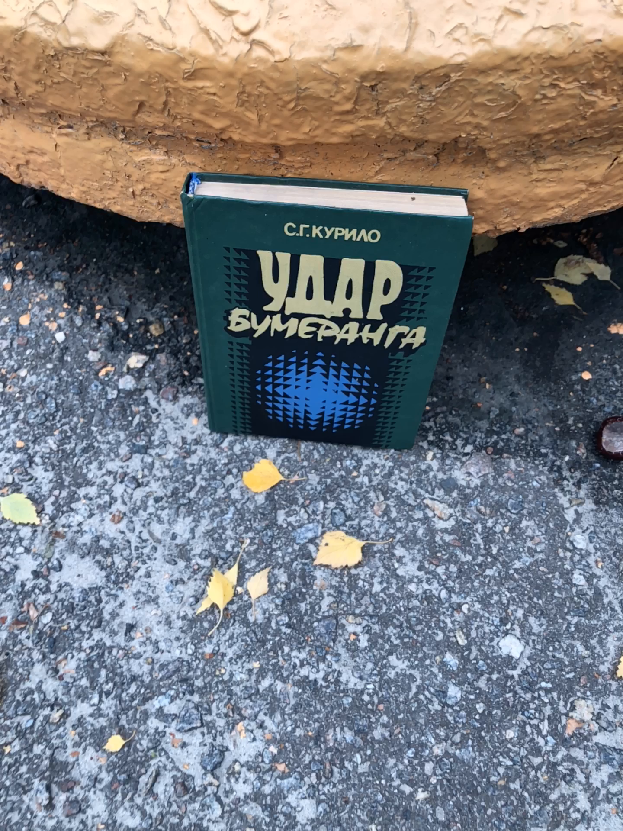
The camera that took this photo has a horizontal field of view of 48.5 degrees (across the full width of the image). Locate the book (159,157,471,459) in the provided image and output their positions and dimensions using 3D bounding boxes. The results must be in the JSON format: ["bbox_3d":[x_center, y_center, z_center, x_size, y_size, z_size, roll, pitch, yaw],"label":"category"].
[{"bbox_3d":[0.003,-0.045,0.369,0.131,0.179,0.029,8,55,6],"label":"book"}]
